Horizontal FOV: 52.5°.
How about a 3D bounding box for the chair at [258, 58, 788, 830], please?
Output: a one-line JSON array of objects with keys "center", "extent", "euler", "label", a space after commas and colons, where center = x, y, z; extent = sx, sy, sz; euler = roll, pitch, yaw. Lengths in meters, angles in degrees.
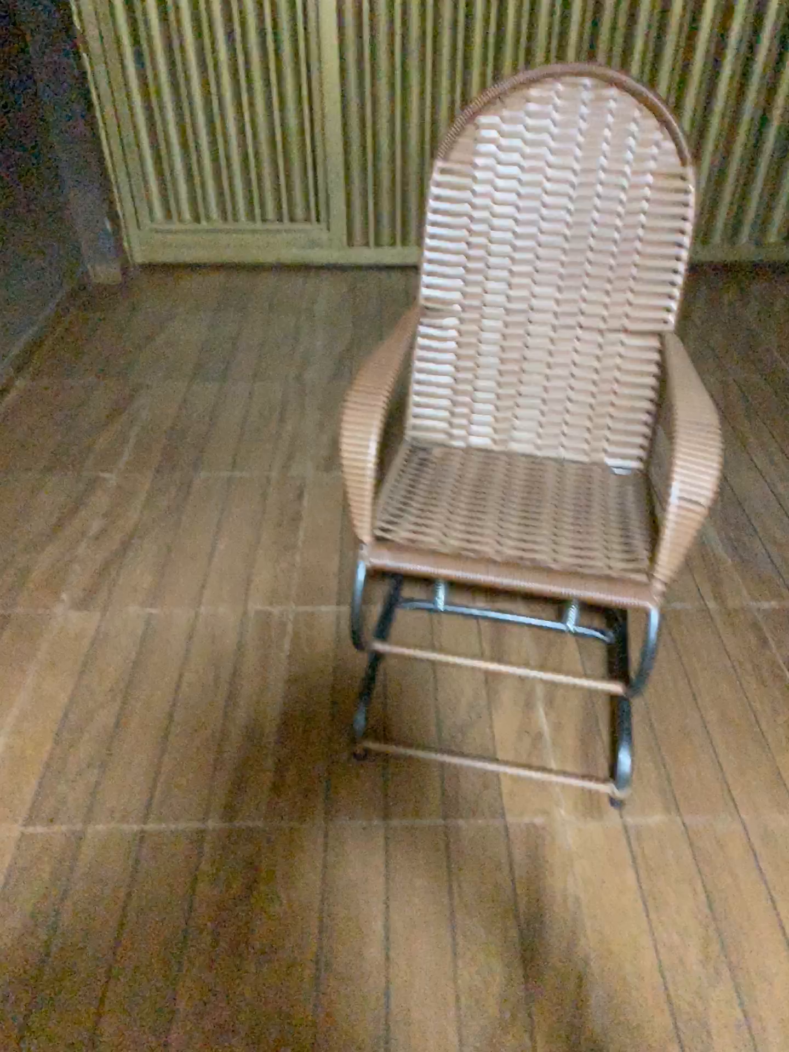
[{"center": [0.228, -0.156, 1.432], "extent": [0.598, 1.050, 0.787], "euler": [8, 40, 9], "label": "chair"}]
